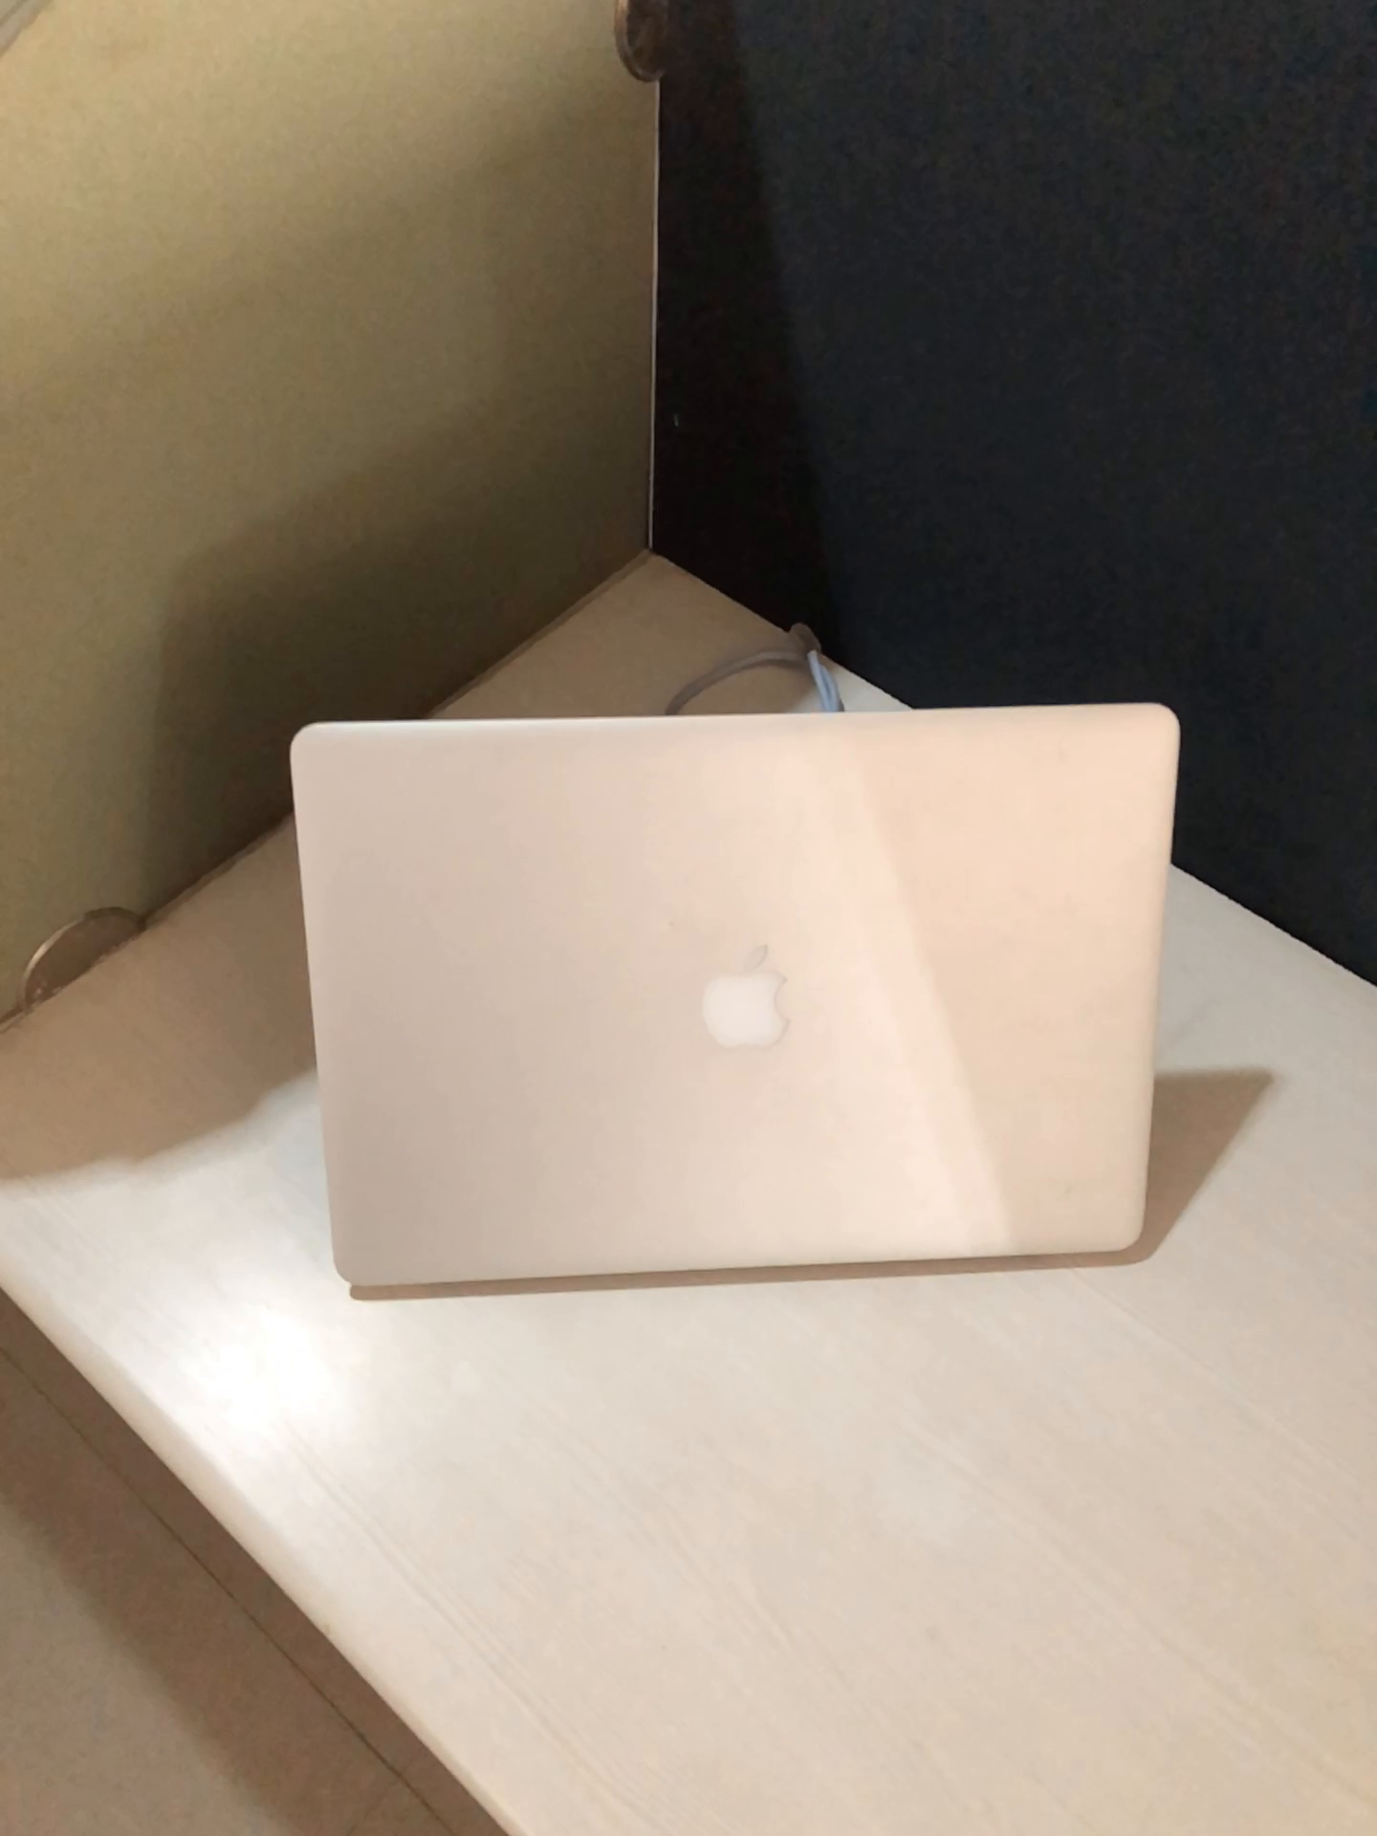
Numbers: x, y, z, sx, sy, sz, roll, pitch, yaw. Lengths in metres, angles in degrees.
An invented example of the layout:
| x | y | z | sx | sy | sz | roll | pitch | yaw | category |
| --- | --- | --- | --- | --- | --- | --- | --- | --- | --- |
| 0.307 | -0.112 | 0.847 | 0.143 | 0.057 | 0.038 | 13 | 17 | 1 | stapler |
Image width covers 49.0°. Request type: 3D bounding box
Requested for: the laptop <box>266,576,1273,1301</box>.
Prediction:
| x | y | z | sx | sy | sz | roll | pitch | yaw | category |
| --- | --- | --- | --- | --- | --- | --- | --- | --- | --- |
| 0.020 | 0.008 | 0.658 | 0.343 | 0.198 | 0.235 | -1 | 53 | -4 | laptop |
